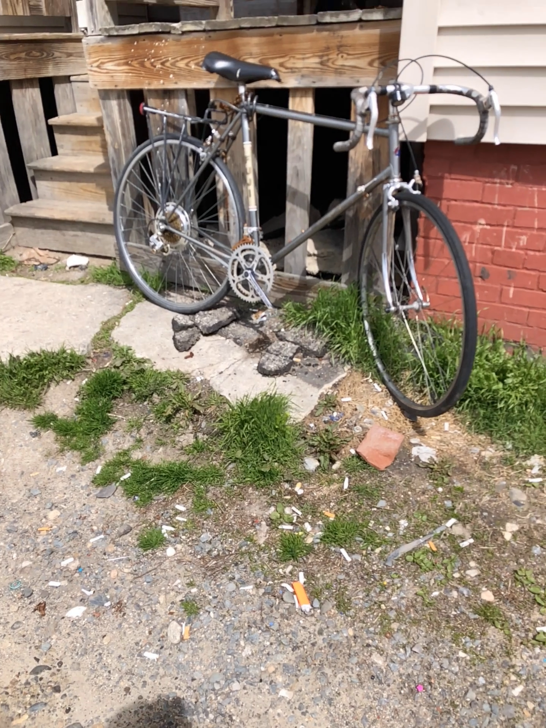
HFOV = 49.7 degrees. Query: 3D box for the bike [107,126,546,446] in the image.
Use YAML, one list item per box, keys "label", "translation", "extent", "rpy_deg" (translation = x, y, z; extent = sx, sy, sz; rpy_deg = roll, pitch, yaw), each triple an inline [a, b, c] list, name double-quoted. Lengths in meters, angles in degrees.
- label: "bike"
  translation: [0.075, -0.319, 1.580]
  extent: [1.203, 0.478, 0.400]
  rpy_deg: [23, 36, 38]
